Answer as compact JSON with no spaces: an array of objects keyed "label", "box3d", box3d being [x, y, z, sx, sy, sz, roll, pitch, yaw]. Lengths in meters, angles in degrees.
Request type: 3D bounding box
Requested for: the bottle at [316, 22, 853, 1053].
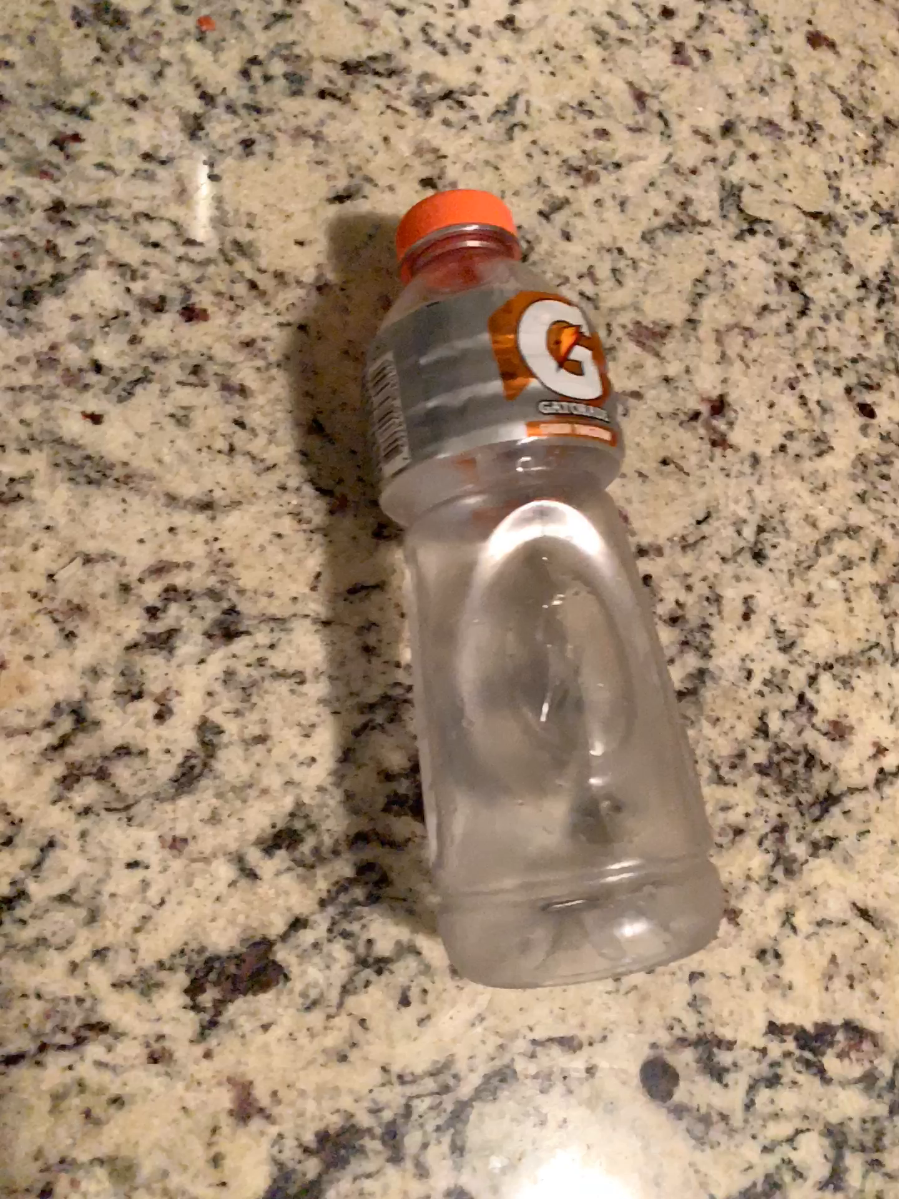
[{"label":"bottle","box3d":[0.020,-0.020,0.230,0.070,0.070,0.220,-6,77,-16]}]
